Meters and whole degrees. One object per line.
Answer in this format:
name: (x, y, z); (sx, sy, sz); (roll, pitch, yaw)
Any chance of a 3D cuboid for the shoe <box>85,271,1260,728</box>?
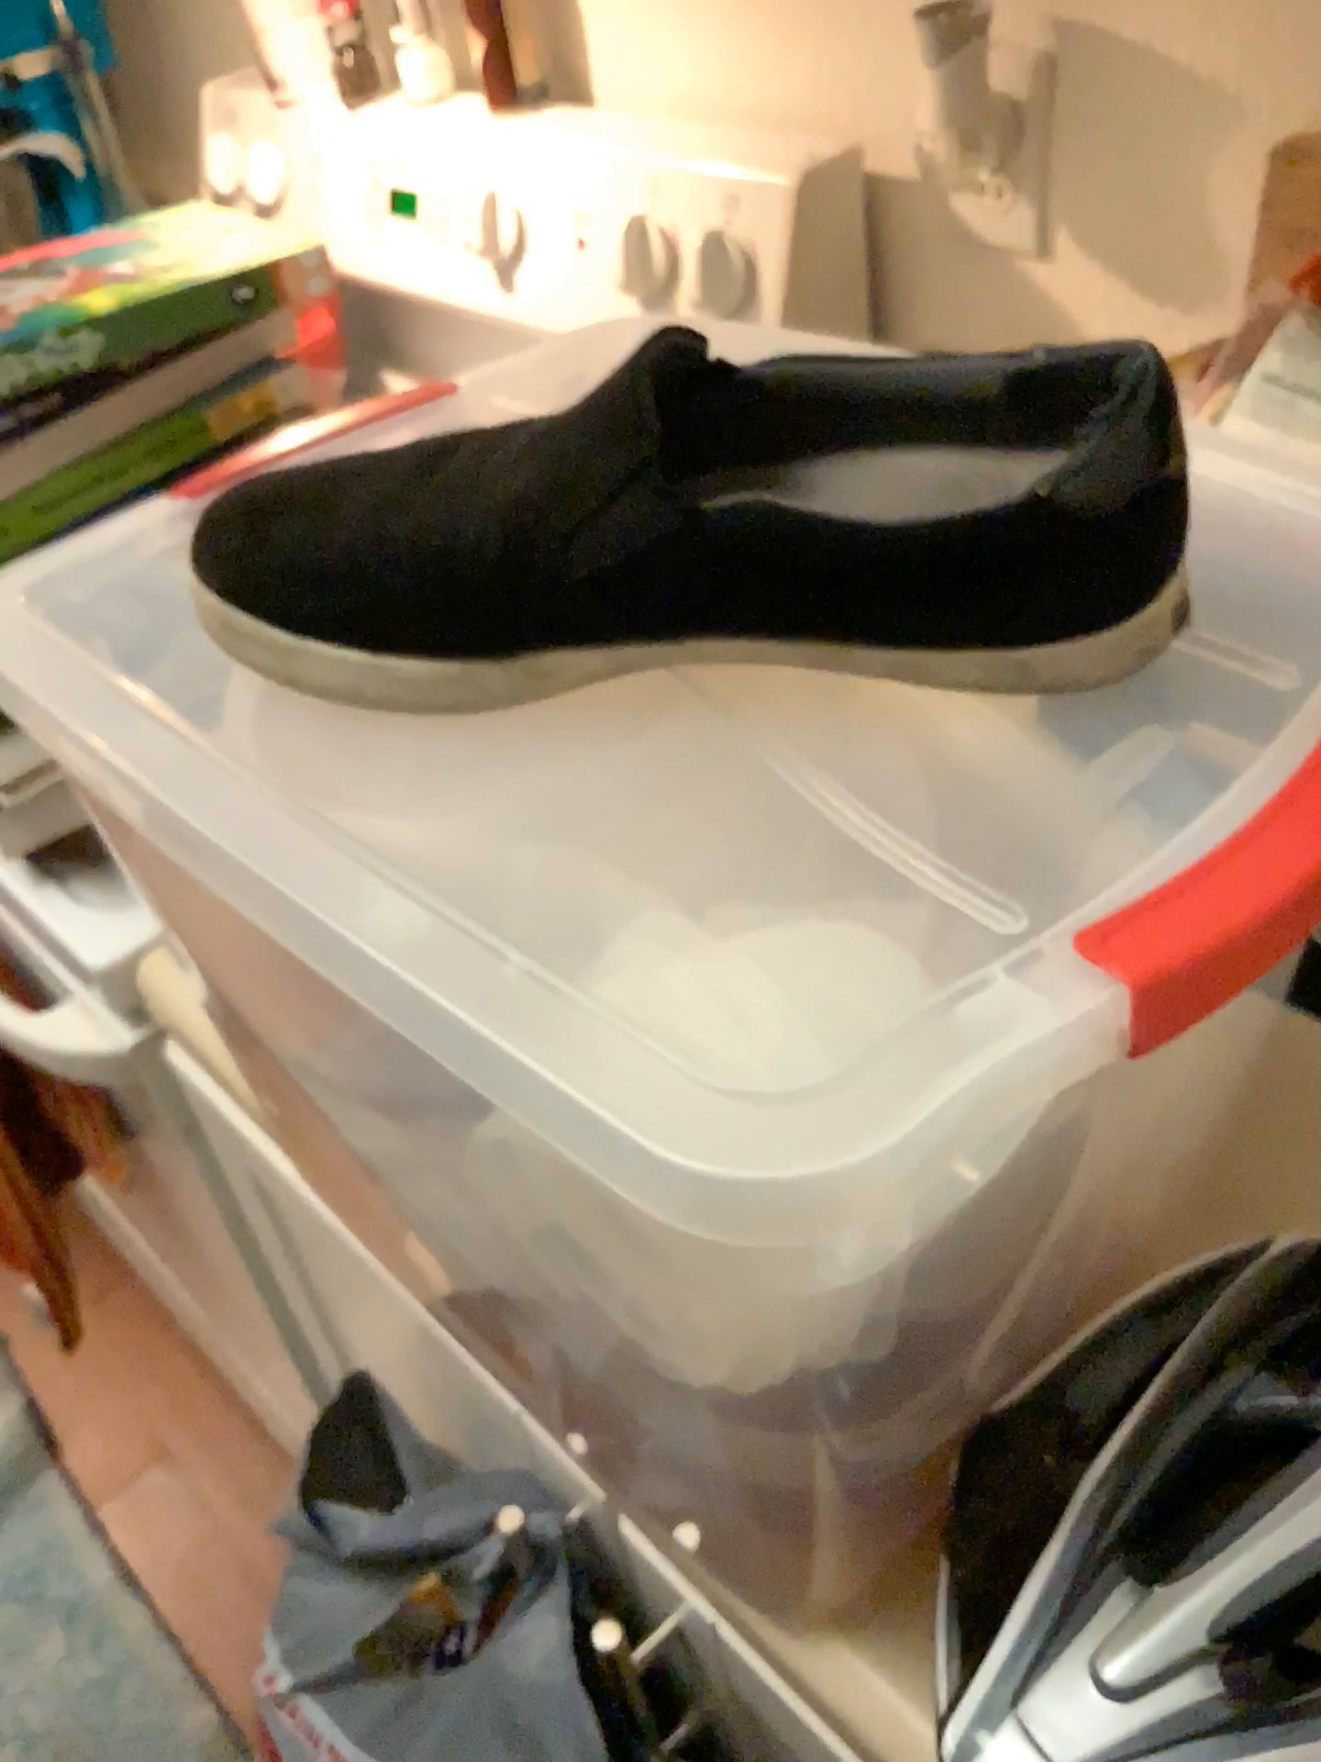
shoe: (0.004, -0.099, 0.395); (0.270, 0.070, 0.100); (1, 41, 12)
